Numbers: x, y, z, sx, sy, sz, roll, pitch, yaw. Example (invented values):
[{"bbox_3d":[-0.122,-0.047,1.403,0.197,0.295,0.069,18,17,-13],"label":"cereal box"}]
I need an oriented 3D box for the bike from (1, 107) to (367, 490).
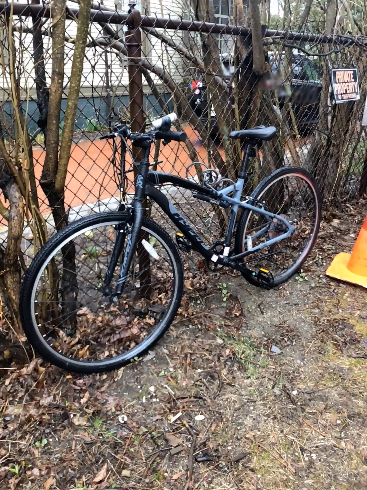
[{"bbox_3d":[0.220,0.046,1.992,1.891,1.067,0.538,-22,31,-33],"label":"bike"}]
